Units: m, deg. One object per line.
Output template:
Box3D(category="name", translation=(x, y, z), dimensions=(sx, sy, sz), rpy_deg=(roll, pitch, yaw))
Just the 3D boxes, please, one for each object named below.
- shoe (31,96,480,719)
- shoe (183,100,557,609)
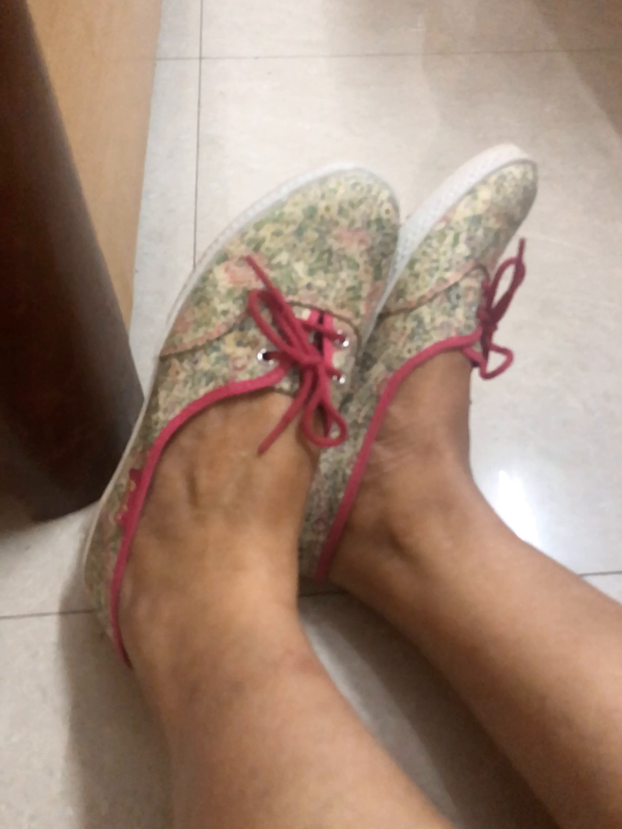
Box3D(category="shoe", translation=(-0.030, 0.002, 0.316), dimensions=(0.070, 0.090, 0.260), rpy_deg=(30, 96, 57))
Box3D(category="shoe", translation=(0.038, -0.027, 0.382), dimensions=(0.070, 0.090, 0.260), rpy_deg=(28, 92, 29))
